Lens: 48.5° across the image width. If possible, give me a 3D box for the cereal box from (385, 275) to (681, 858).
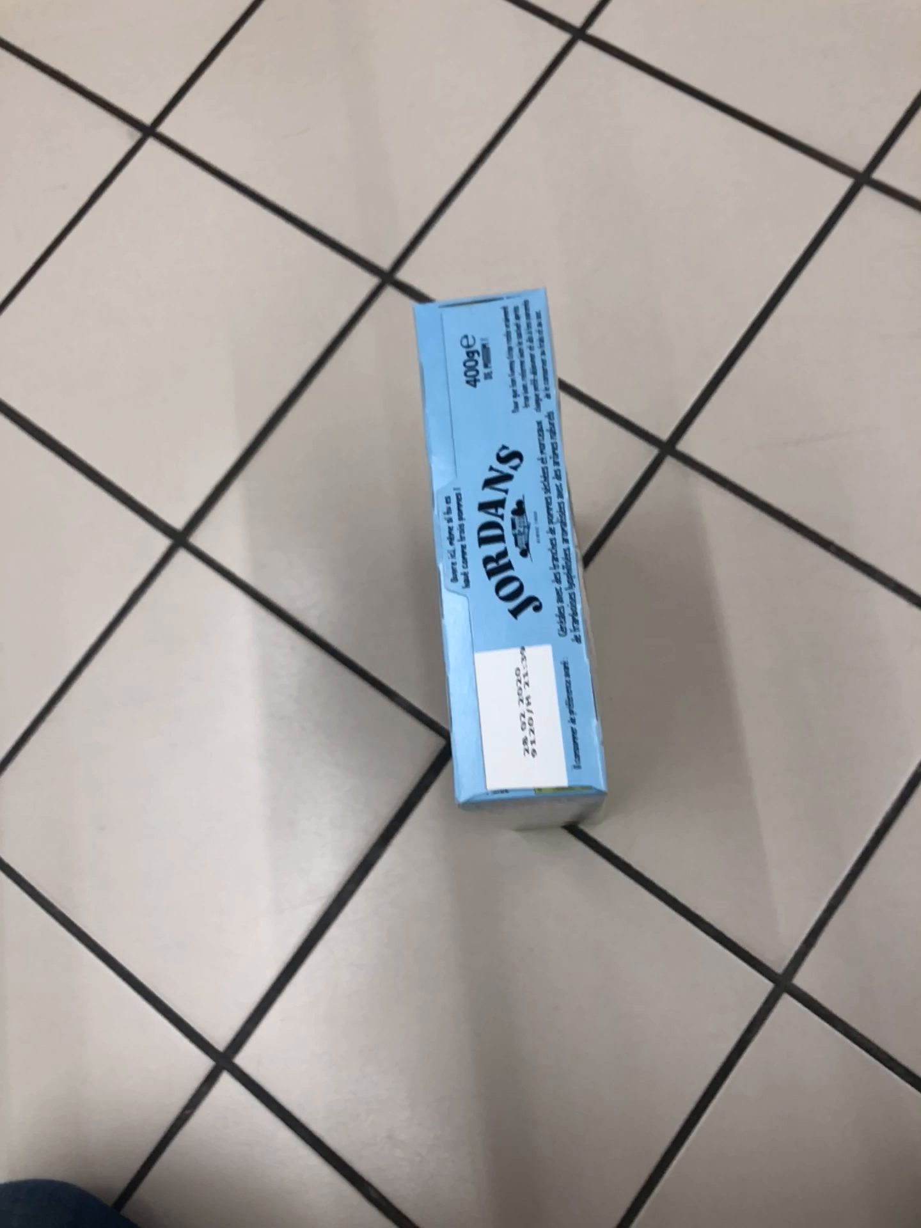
[{"bbox_3d":[0.035,0.006,0.430,0.070,0.230,0.180,-8,75,6],"label":"cereal box"}]
